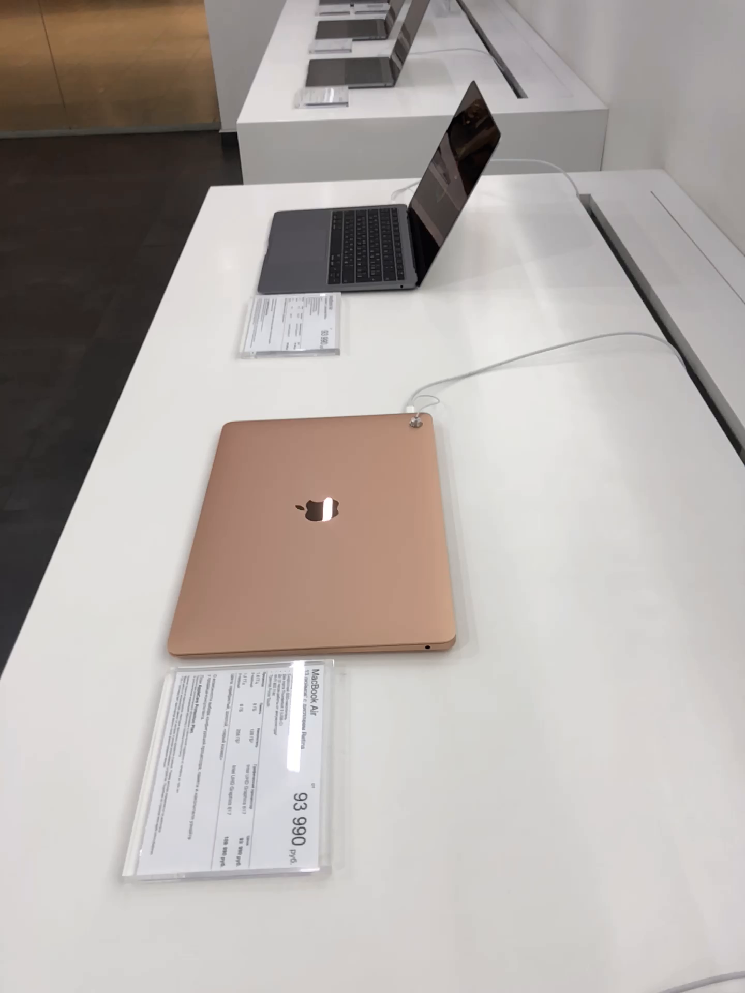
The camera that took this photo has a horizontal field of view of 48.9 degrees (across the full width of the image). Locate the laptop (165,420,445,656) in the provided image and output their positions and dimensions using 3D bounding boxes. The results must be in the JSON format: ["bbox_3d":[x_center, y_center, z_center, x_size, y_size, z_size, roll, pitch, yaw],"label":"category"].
[{"bbox_3d":[-0.049,0.019,0.705,0.201,0.005,0.295,-3,37,2],"label":"laptop"}]

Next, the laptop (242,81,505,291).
[{"bbox_3d":[0.003,-0.442,1.145,0.311,0.180,0.305,-3,37,2],"label":"laptop"}]
